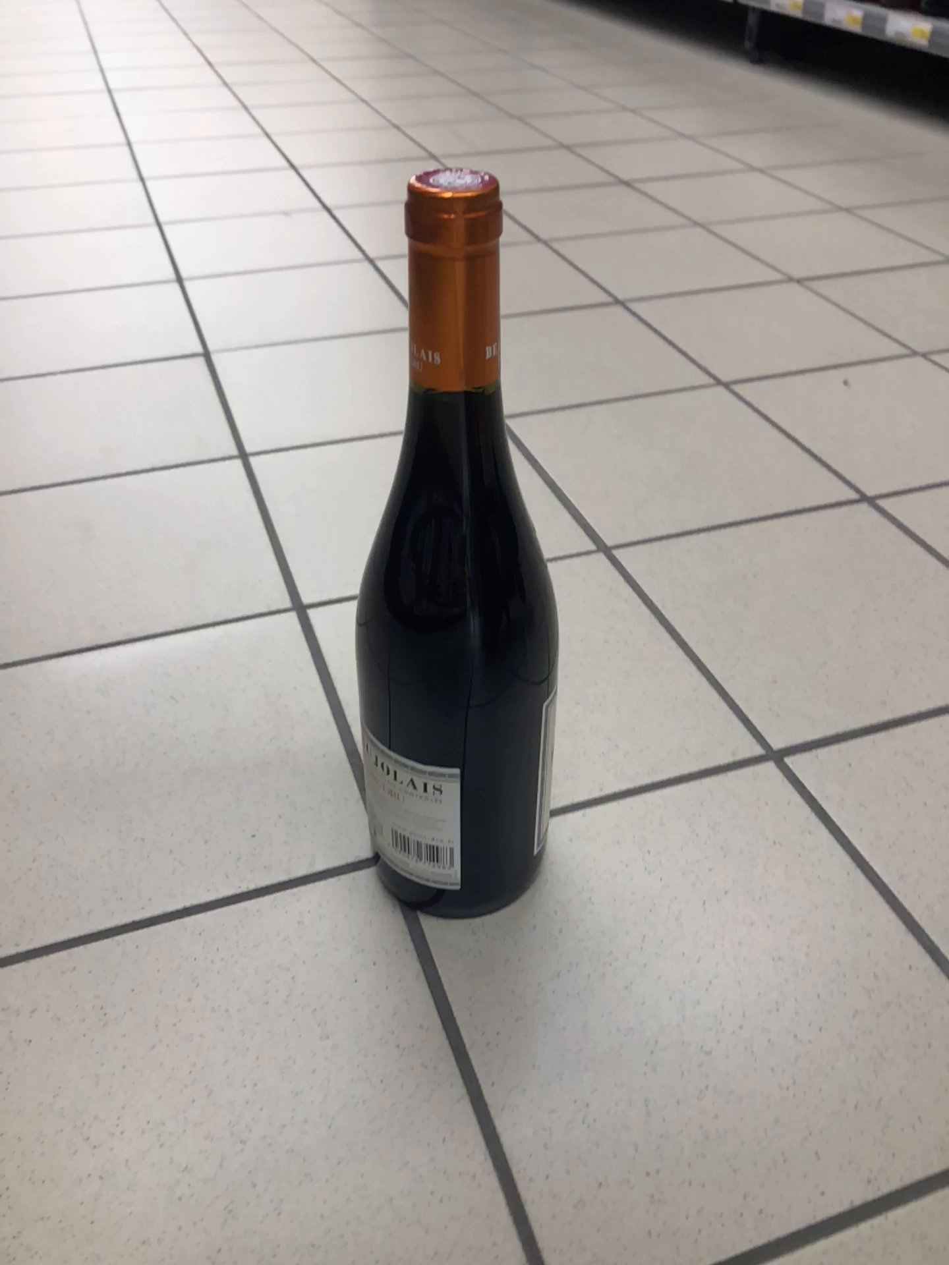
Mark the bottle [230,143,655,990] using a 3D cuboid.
[{"bbox_3d":[-0.013,-0.010,0.383,0.090,0.288,0.090,0,36,0],"label":"bottle"}]
